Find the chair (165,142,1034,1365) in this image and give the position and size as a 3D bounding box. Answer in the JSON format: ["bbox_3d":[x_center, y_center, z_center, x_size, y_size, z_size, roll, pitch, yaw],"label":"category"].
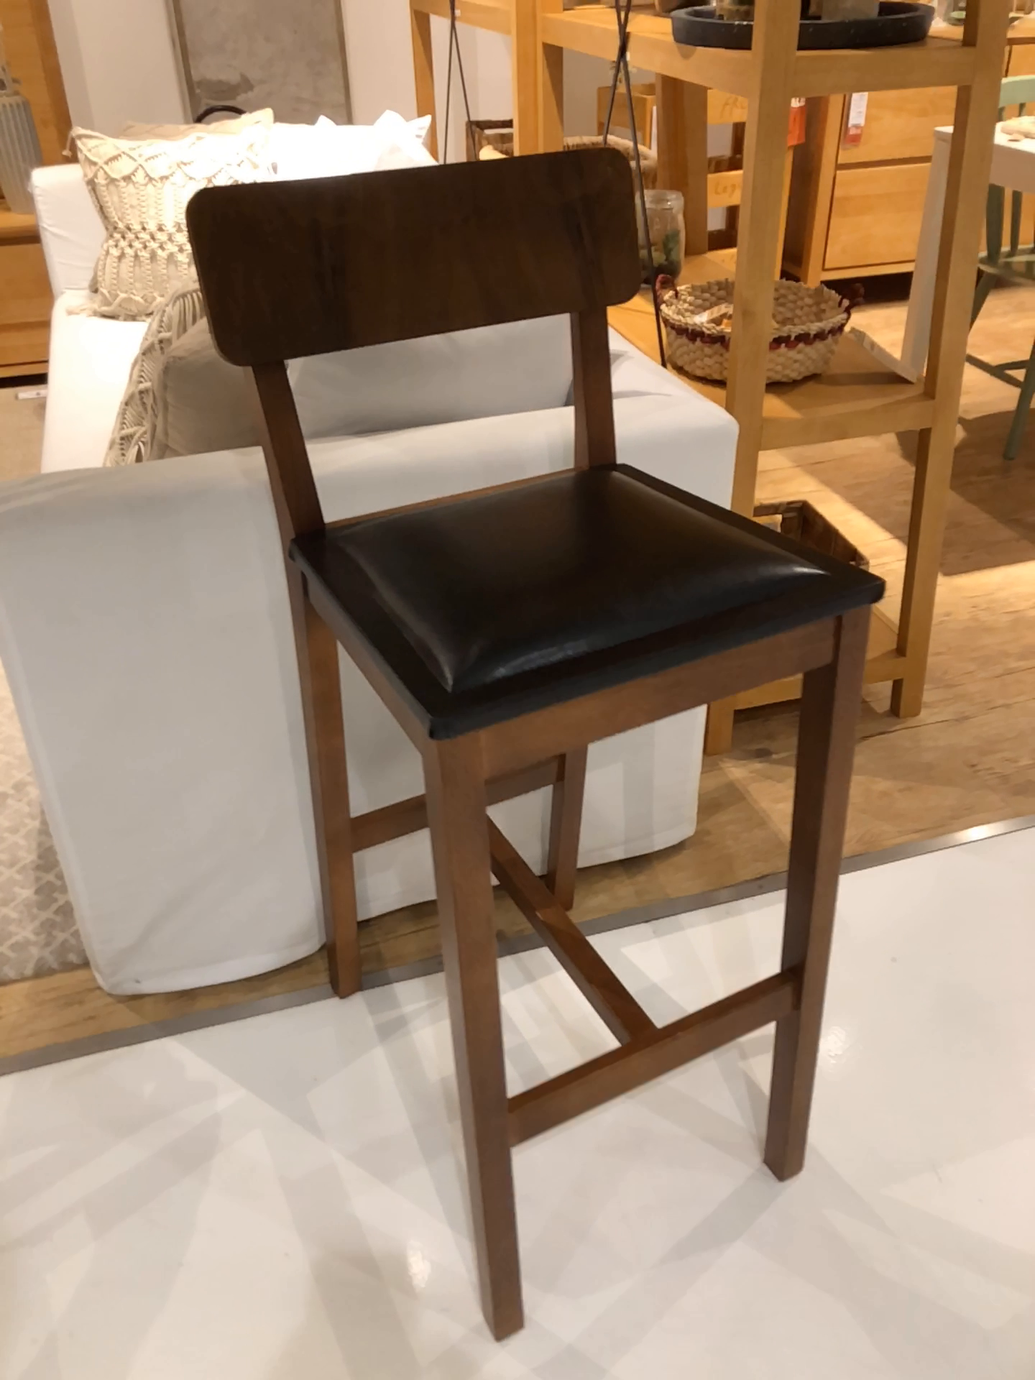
[{"bbox_3d":[0.031,0.059,1.131,0.441,1.002,0.533,-18,37,-23],"label":"chair"}]
